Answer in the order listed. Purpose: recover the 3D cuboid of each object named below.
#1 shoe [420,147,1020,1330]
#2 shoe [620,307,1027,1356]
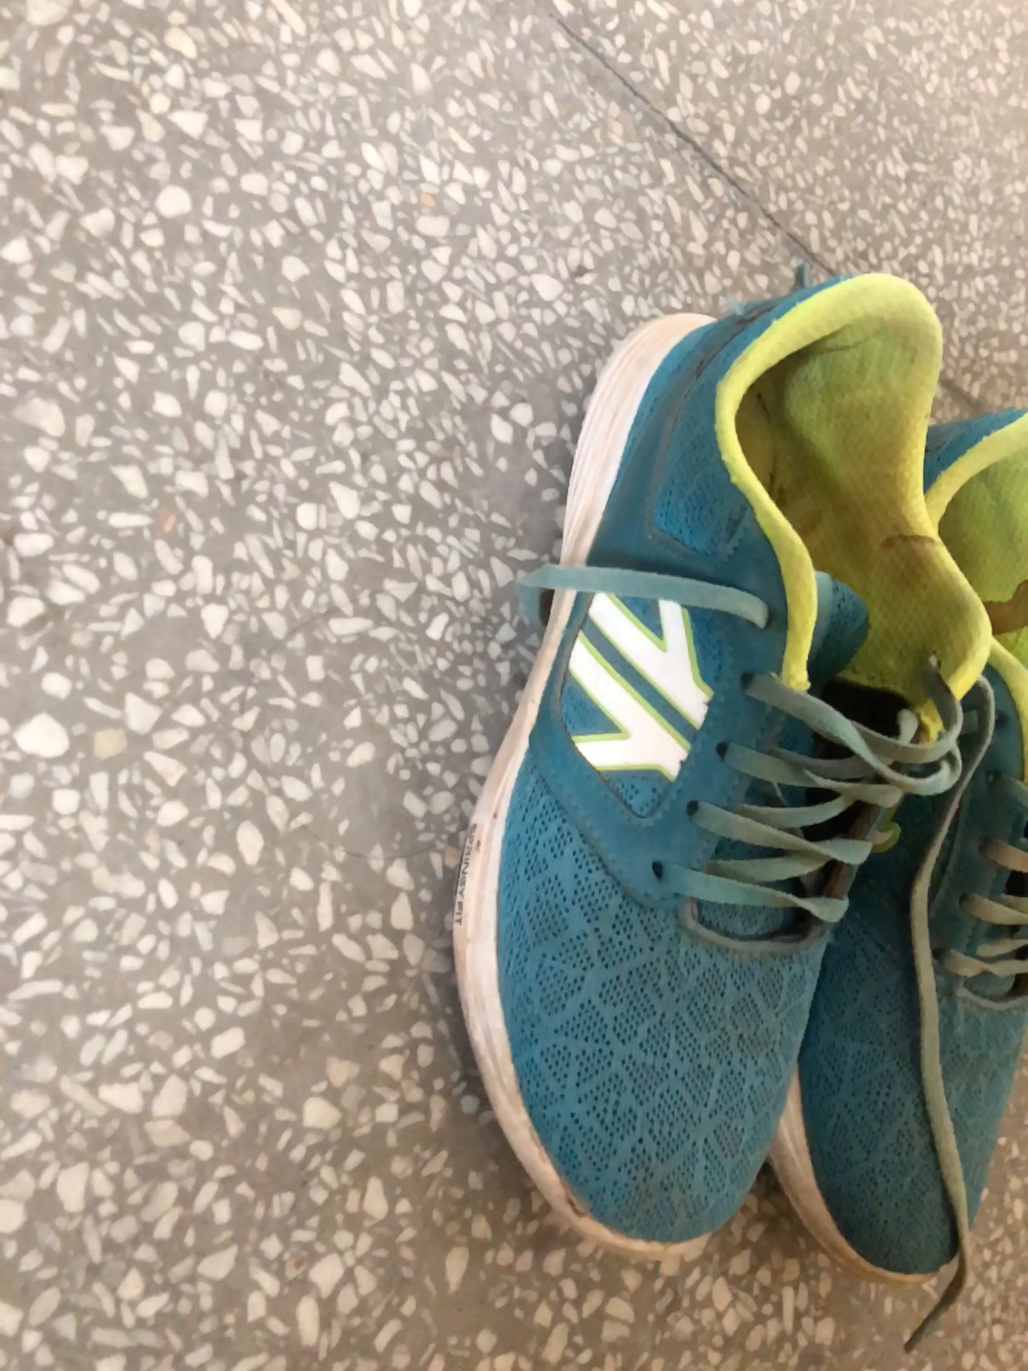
[{"bbox_3d":[0.056,0.012,0.280,0.090,0.080,0.240,18,73,-30],"label":"shoe"},{"bbox_3d":[0.115,0.039,0.330,0.100,0.080,0.250,16,80,-31],"label":"shoe"}]
